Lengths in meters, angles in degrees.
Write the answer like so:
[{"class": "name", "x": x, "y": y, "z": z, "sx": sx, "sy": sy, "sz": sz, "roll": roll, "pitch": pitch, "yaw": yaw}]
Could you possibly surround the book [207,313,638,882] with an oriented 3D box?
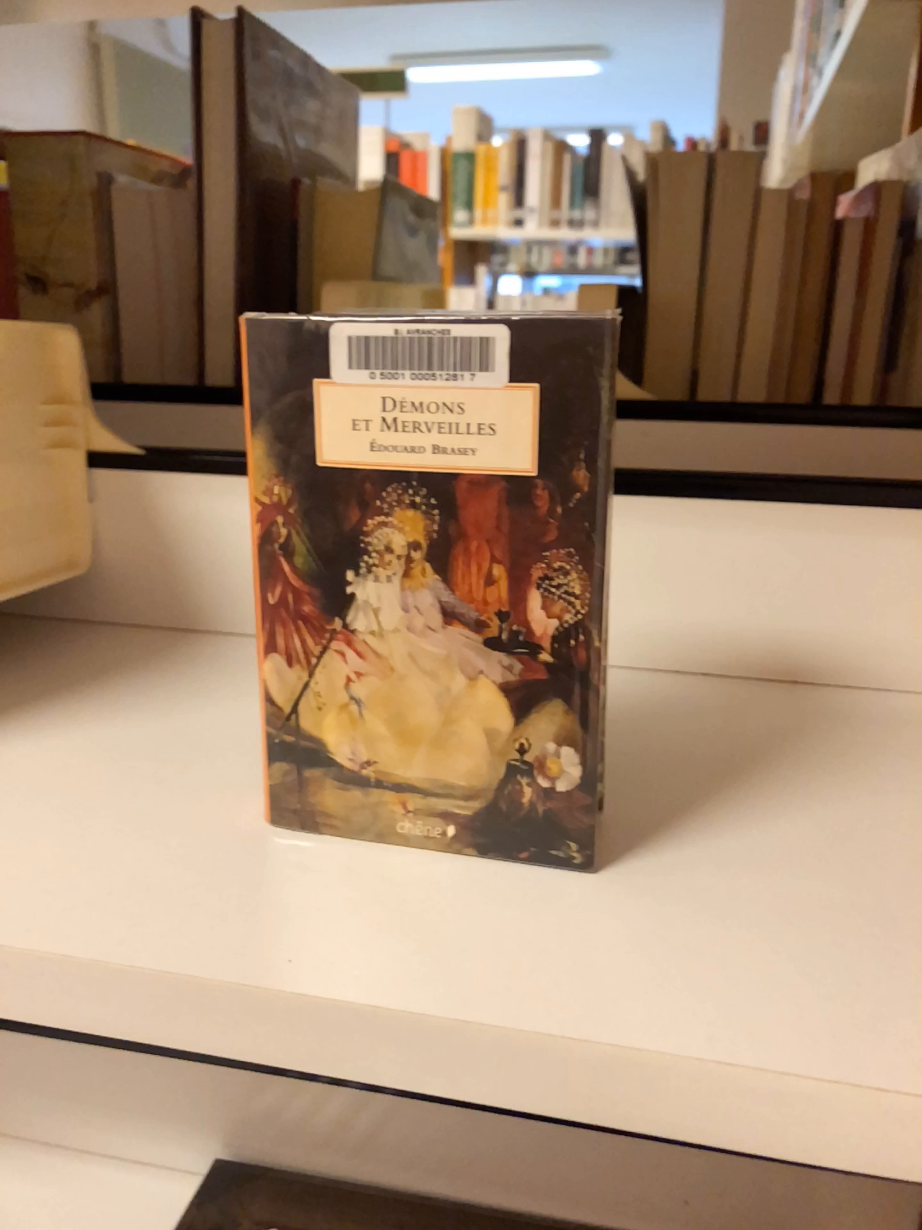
[{"class": "book", "x": -0.011, "y": -0.009, "z": 0.311, "sx": 0.114, "sy": 0.156, "sz": 0.047, "roll": 5, "pitch": 15, "yaw": 15}]
